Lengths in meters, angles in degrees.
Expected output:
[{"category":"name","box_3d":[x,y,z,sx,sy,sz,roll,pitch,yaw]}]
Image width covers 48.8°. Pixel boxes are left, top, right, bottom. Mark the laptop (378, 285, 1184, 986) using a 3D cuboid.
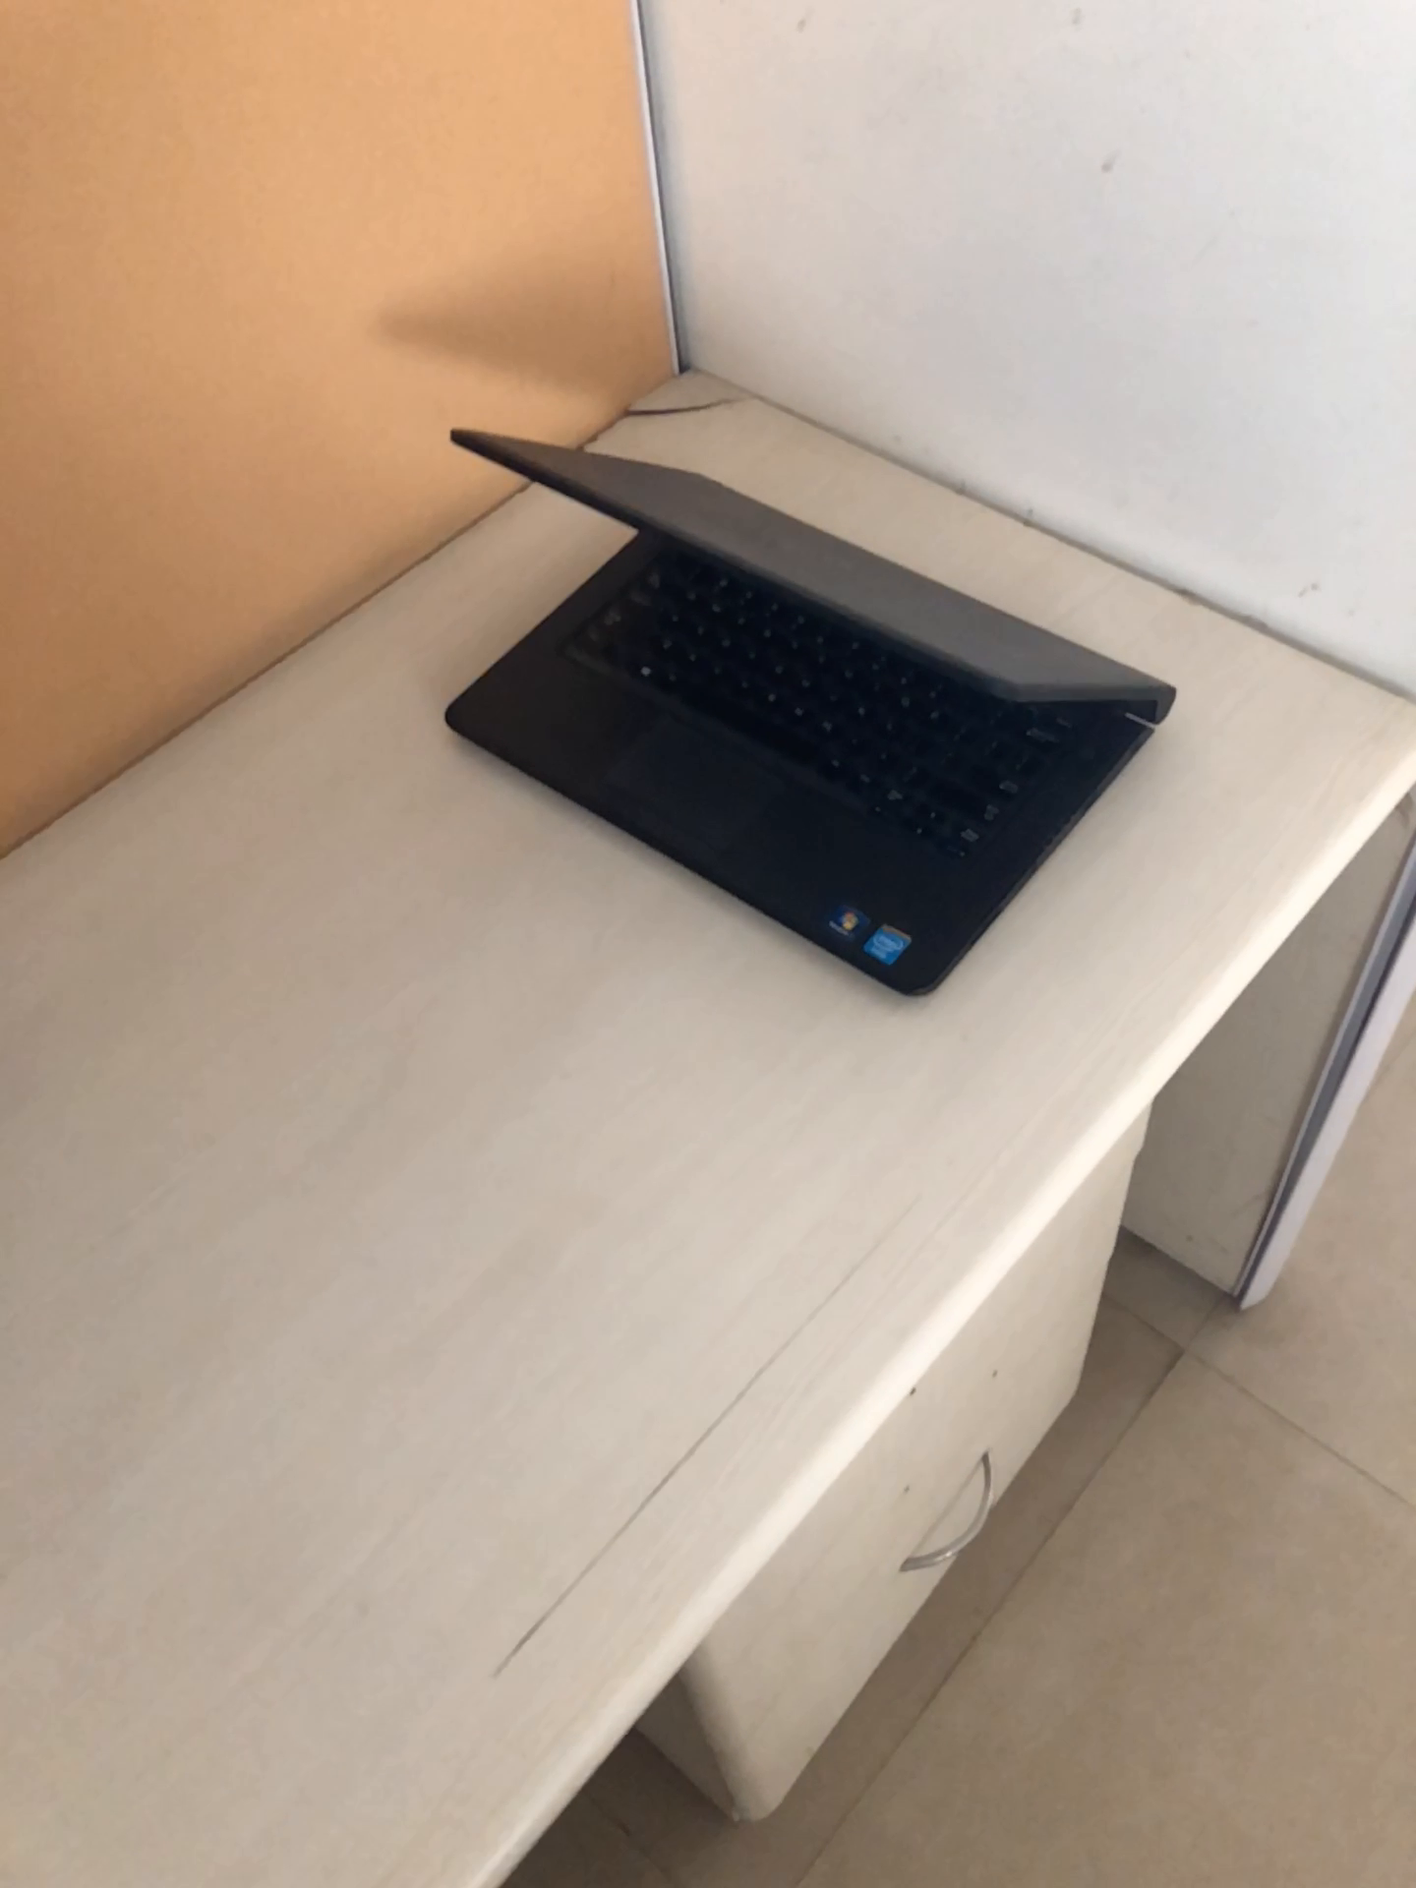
[{"category":"laptop","box_3d":[0.035,-0.171,0.798,0.318,0.154,0.216,31,61,26]}]
